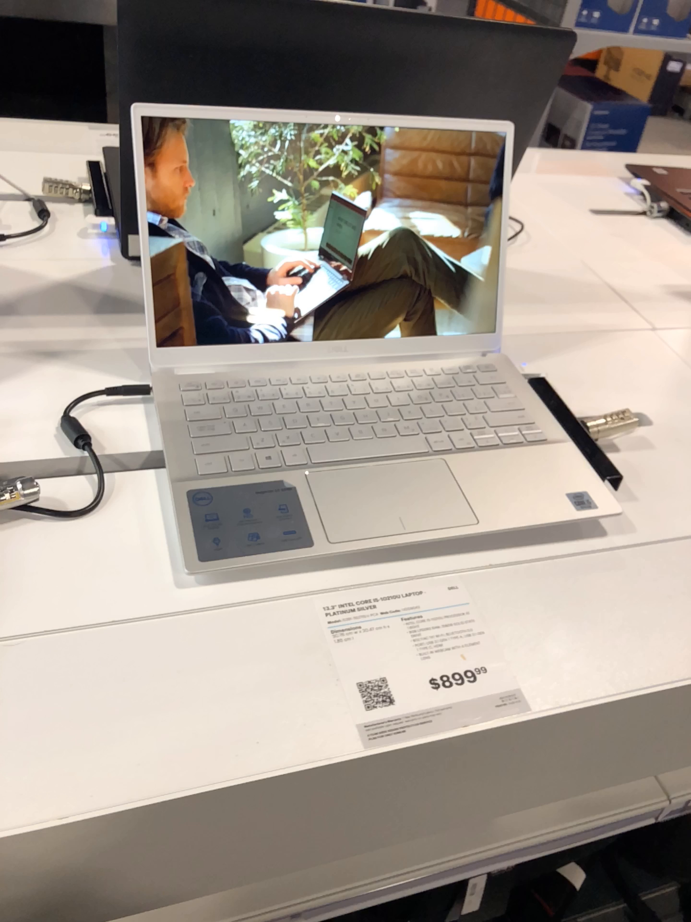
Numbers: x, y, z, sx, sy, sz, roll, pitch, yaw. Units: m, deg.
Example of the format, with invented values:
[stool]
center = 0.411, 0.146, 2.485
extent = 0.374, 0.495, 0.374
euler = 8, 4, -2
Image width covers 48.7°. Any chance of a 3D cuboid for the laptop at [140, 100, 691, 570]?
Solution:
[laptop]
center = 0.018, -0.112, 0.539
extent = 0.293, 0.165, 0.294
euler = -5, 44, -15
